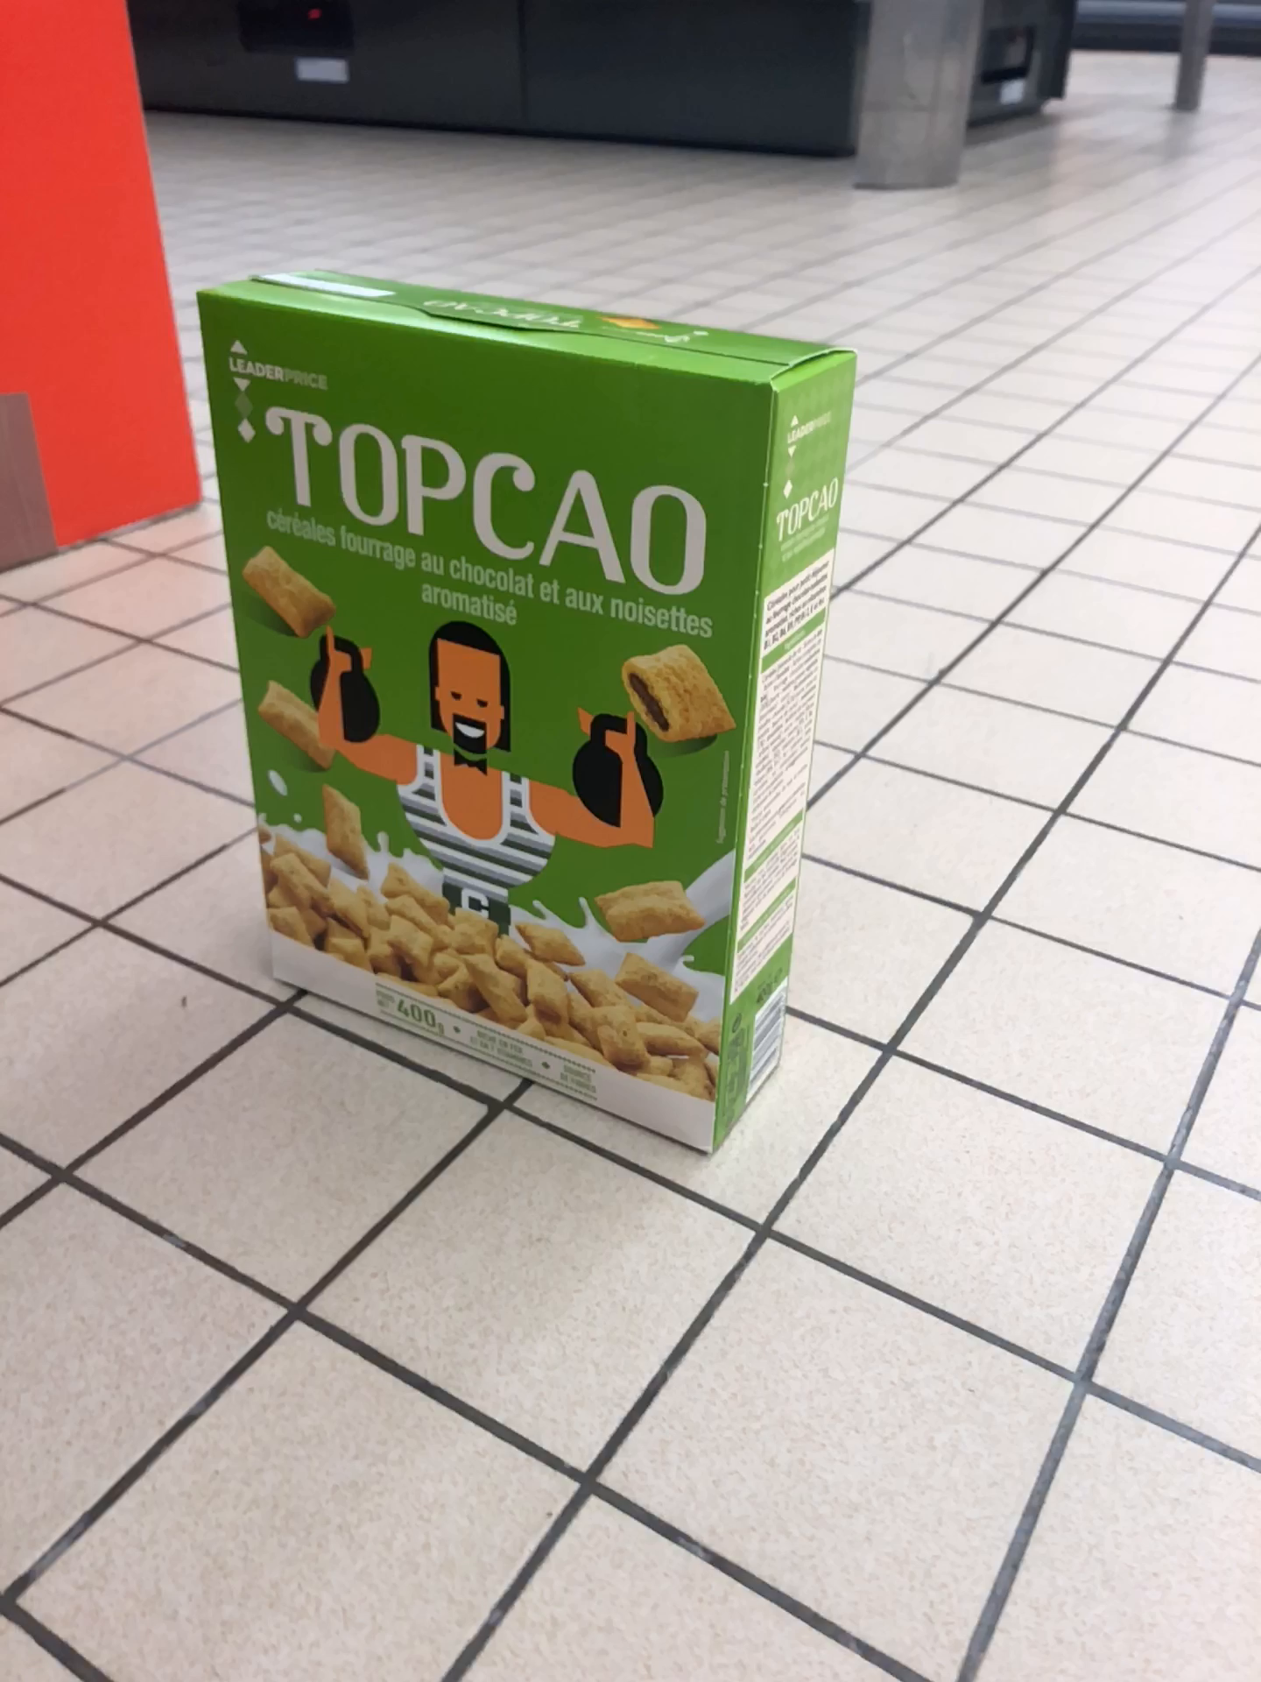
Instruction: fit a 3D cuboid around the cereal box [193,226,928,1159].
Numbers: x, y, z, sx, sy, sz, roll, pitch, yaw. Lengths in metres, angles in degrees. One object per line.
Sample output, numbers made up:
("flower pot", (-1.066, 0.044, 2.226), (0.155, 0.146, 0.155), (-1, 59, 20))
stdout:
("cereal box", (-0.031, -0.048, 0.445), (0.200, 0.248, 0.060), (18, 33, 23))
